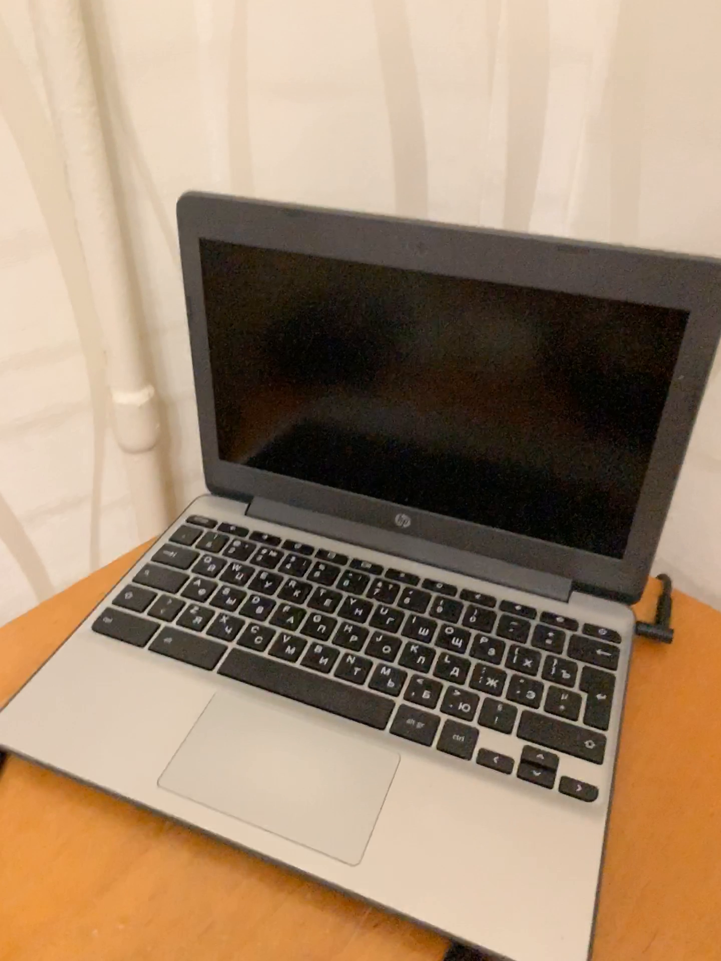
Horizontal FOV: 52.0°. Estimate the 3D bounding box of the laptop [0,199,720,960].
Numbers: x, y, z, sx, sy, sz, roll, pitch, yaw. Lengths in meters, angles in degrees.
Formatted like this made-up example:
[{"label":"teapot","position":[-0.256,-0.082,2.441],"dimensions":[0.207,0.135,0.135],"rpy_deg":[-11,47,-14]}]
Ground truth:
[{"label":"laptop","position":[-0.009,0.014,0.329],"dimensions":[0.271,0.187,0.207],"rpy_deg":[14,38,17]}]
